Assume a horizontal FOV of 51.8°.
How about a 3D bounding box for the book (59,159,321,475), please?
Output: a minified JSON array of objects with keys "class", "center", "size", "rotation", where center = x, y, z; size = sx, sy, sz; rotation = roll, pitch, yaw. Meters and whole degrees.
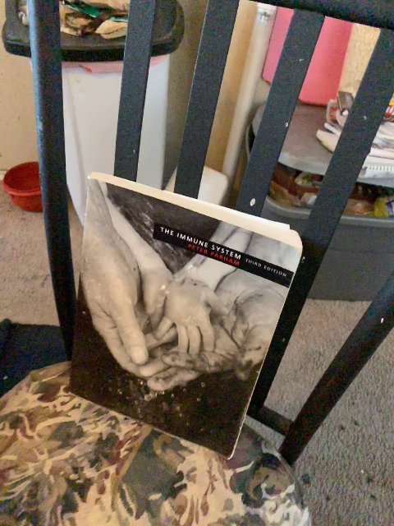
[{"class":"book","center":[-0.029,0.059,0.403],"size":[0.220,0.269,0.040],"rotation":[18,27,14]}]
